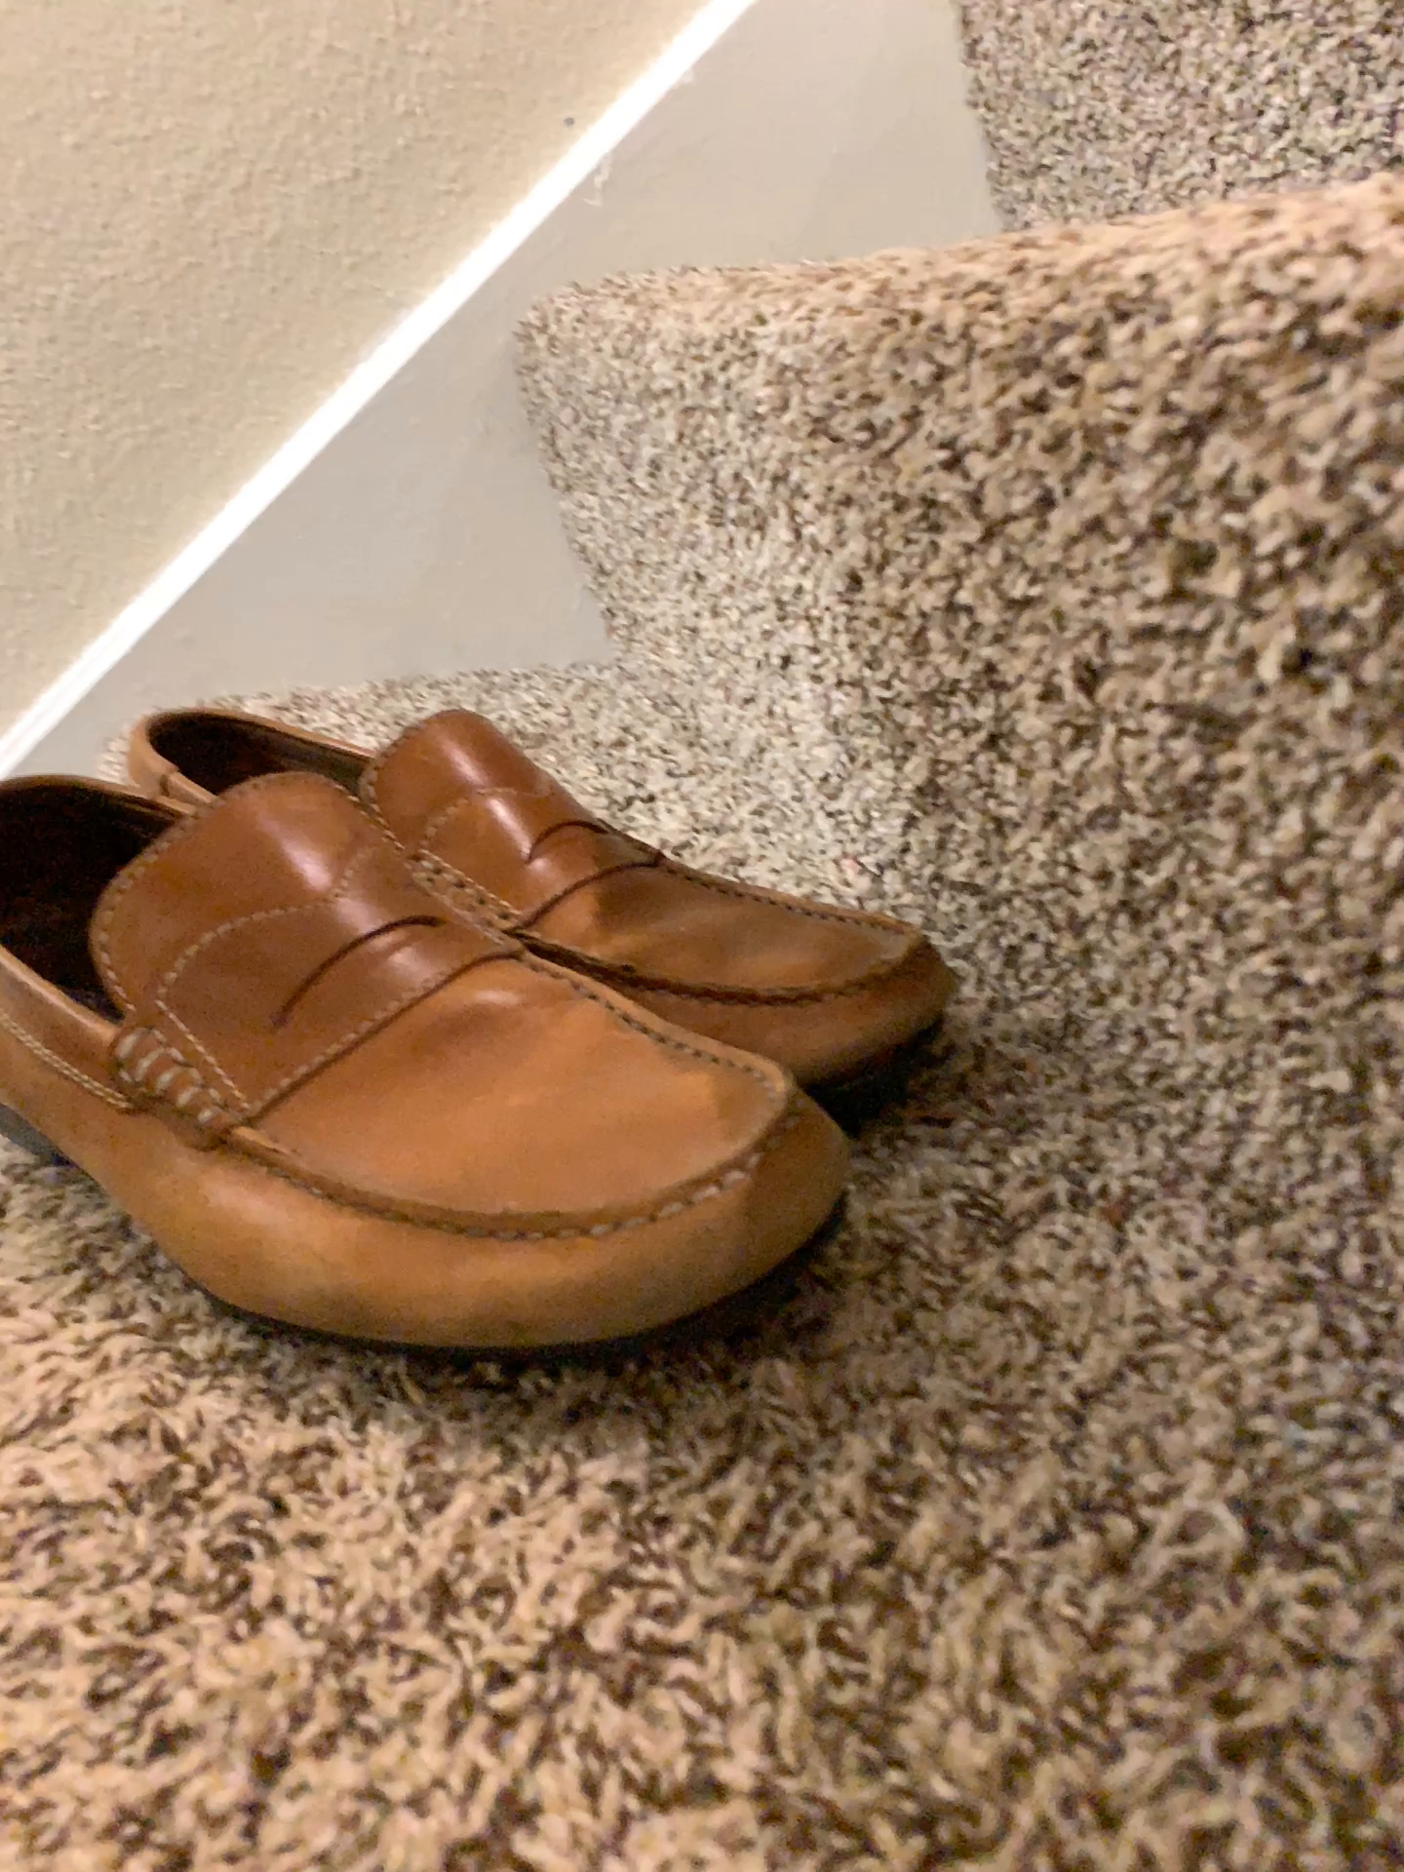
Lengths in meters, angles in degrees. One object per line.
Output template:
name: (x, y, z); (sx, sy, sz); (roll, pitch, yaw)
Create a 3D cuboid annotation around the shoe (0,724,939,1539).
shoe: (-0.097, 0.015, 0.344); (0.281, 0.070, 0.120); (15, 29, 36)

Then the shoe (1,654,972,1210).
shoe: (-0.073, -0.021, 0.396); (0.281, 0.070, 0.090); (15, 29, 36)
